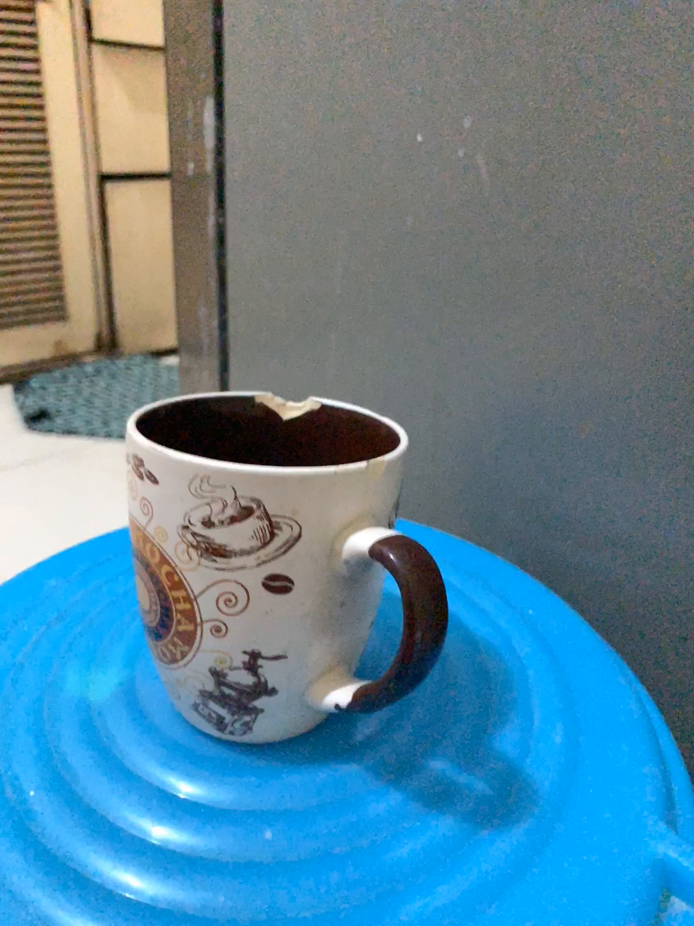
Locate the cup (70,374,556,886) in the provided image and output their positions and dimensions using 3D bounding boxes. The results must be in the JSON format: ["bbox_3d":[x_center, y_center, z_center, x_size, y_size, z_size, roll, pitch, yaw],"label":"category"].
[{"bbox_3d":[-0.015,0.031,0.204,0.110,0.082,0.070,20,24,37],"label":"cup"}]
